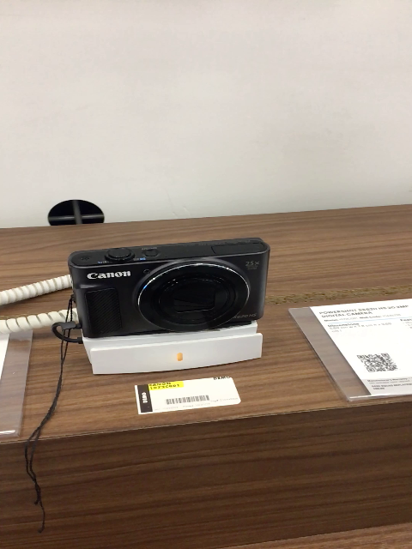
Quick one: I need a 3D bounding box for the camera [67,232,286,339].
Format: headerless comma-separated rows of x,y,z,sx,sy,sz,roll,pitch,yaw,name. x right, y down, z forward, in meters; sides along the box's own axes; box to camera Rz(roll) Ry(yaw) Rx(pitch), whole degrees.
-0.017,0.005,0.300,0.111,0.045,0.029,-5,34,-8,camera
